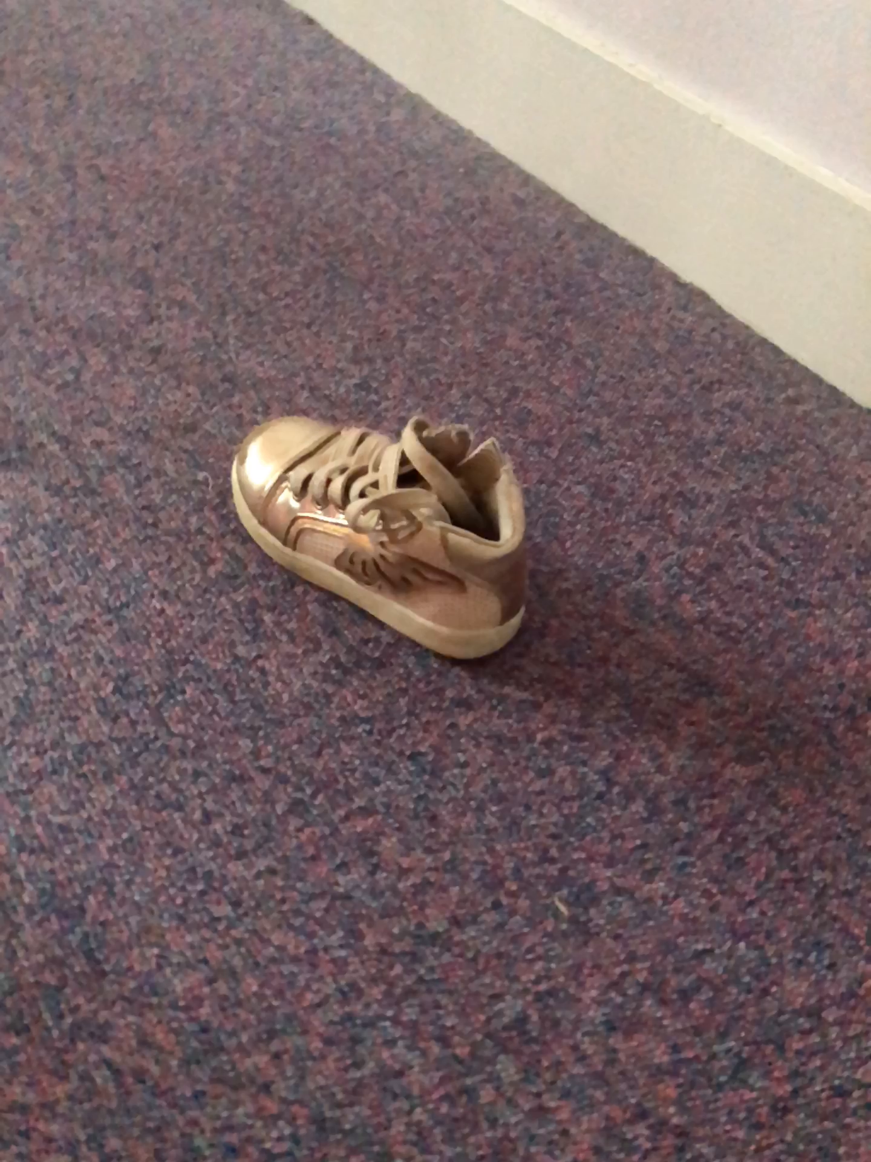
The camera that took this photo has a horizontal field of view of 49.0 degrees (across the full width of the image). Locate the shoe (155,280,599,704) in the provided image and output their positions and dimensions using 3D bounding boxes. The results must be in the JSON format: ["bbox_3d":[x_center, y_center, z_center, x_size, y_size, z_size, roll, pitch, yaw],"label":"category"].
[{"bbox_3d":[-0.025,-0.040,0.387,0.150,0.080,0.080,34,57,22],"label":"shoe"}]
